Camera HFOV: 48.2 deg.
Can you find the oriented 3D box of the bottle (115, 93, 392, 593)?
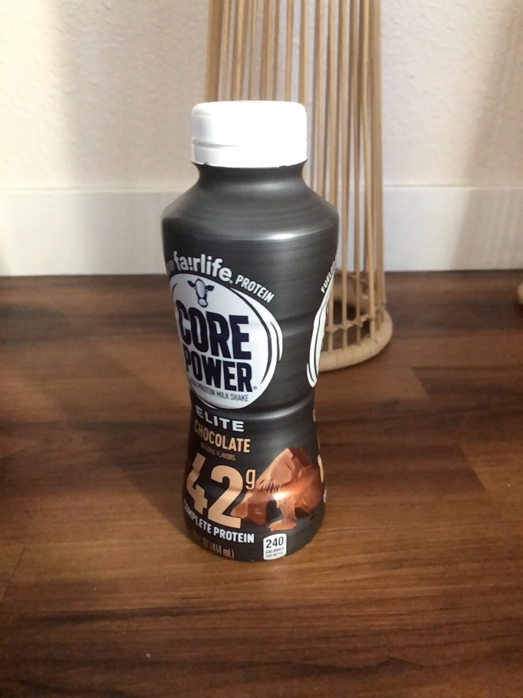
[{"bbox_3d":[0.000,-0.005,0.243,0.070,0.184,0.070,0,25,0],"label":"bottle"}]
